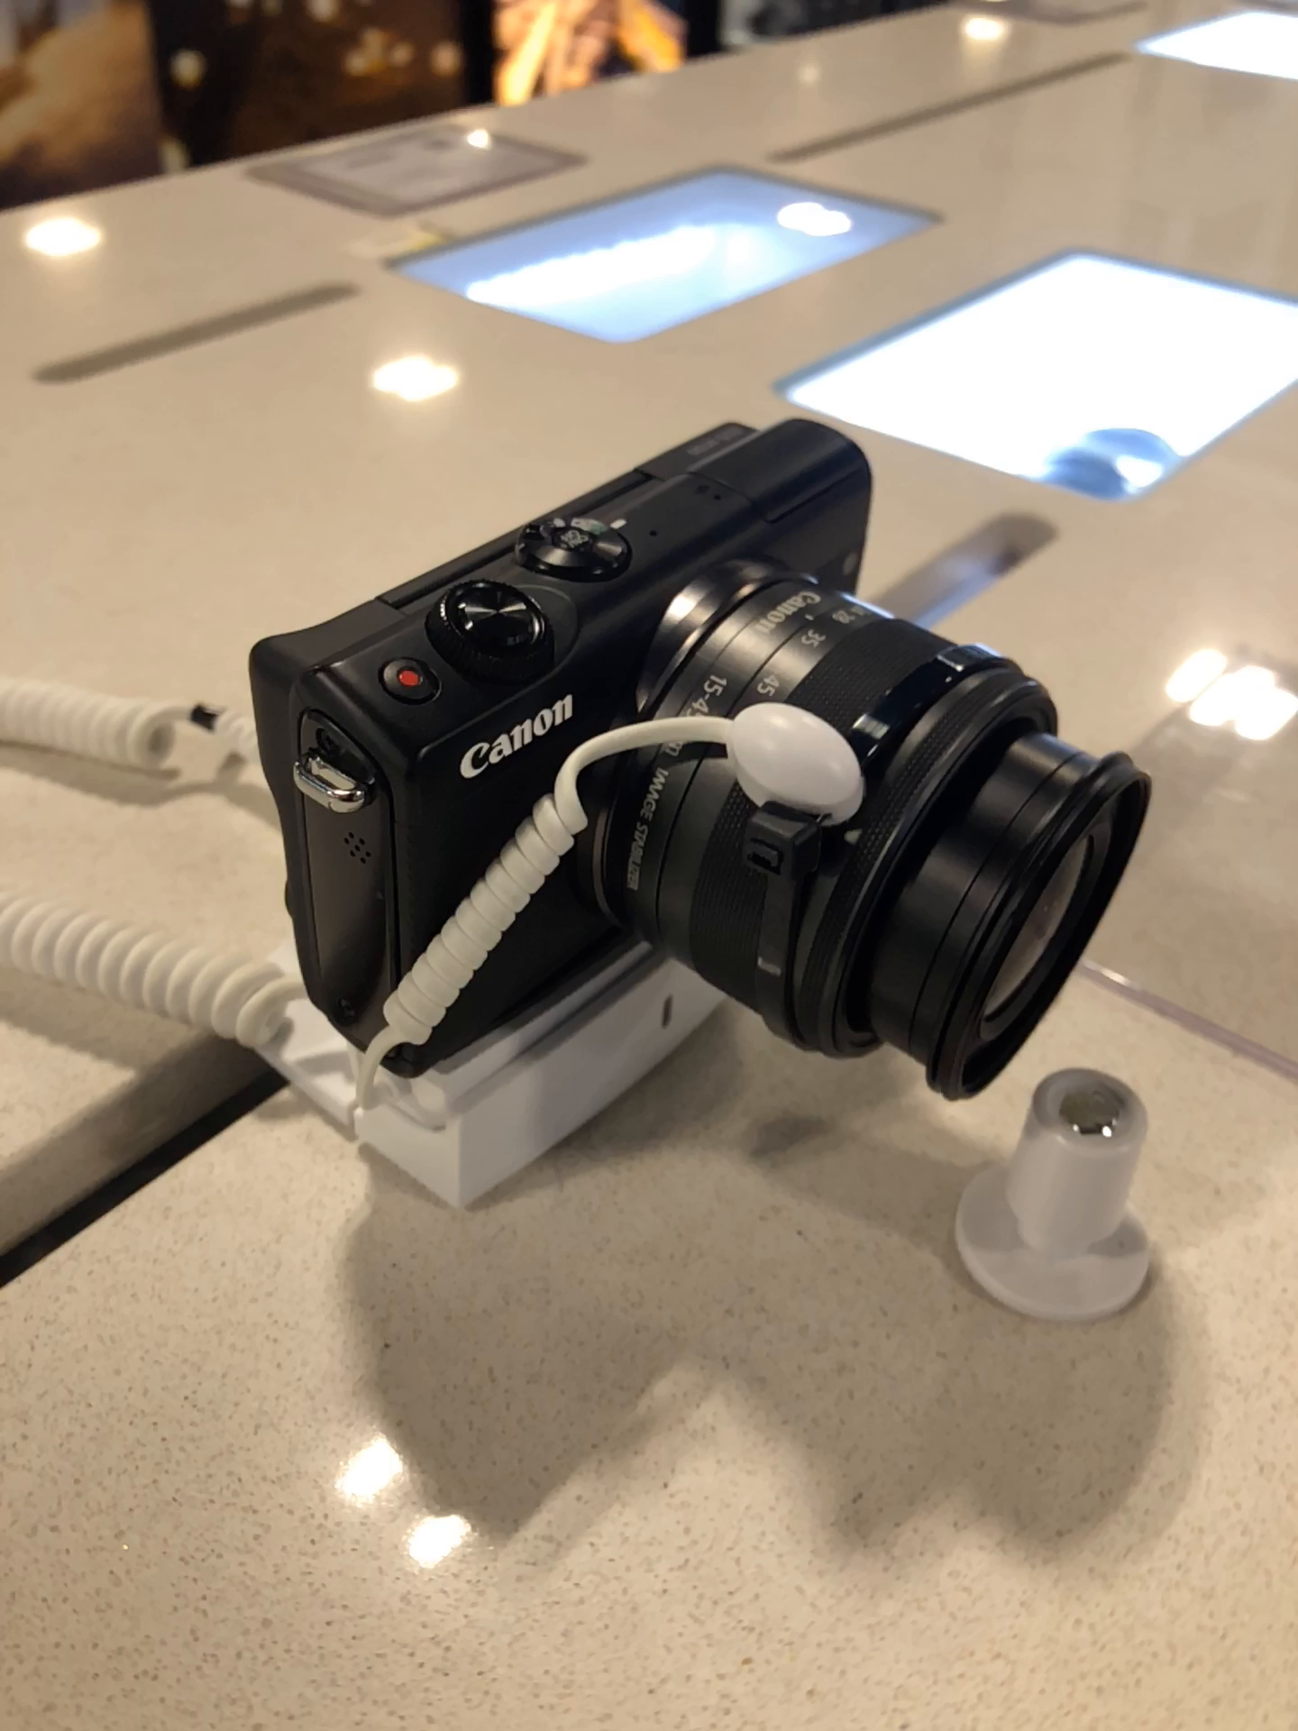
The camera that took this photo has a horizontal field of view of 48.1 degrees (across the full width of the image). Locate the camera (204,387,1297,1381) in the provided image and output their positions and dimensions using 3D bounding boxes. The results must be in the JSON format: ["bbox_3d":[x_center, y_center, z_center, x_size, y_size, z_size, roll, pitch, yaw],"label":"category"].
[{"bbox_3d":[0.019,-0.011,0.208,0.090,0.060,0.120,29,47,30],"label":"camera"}]
